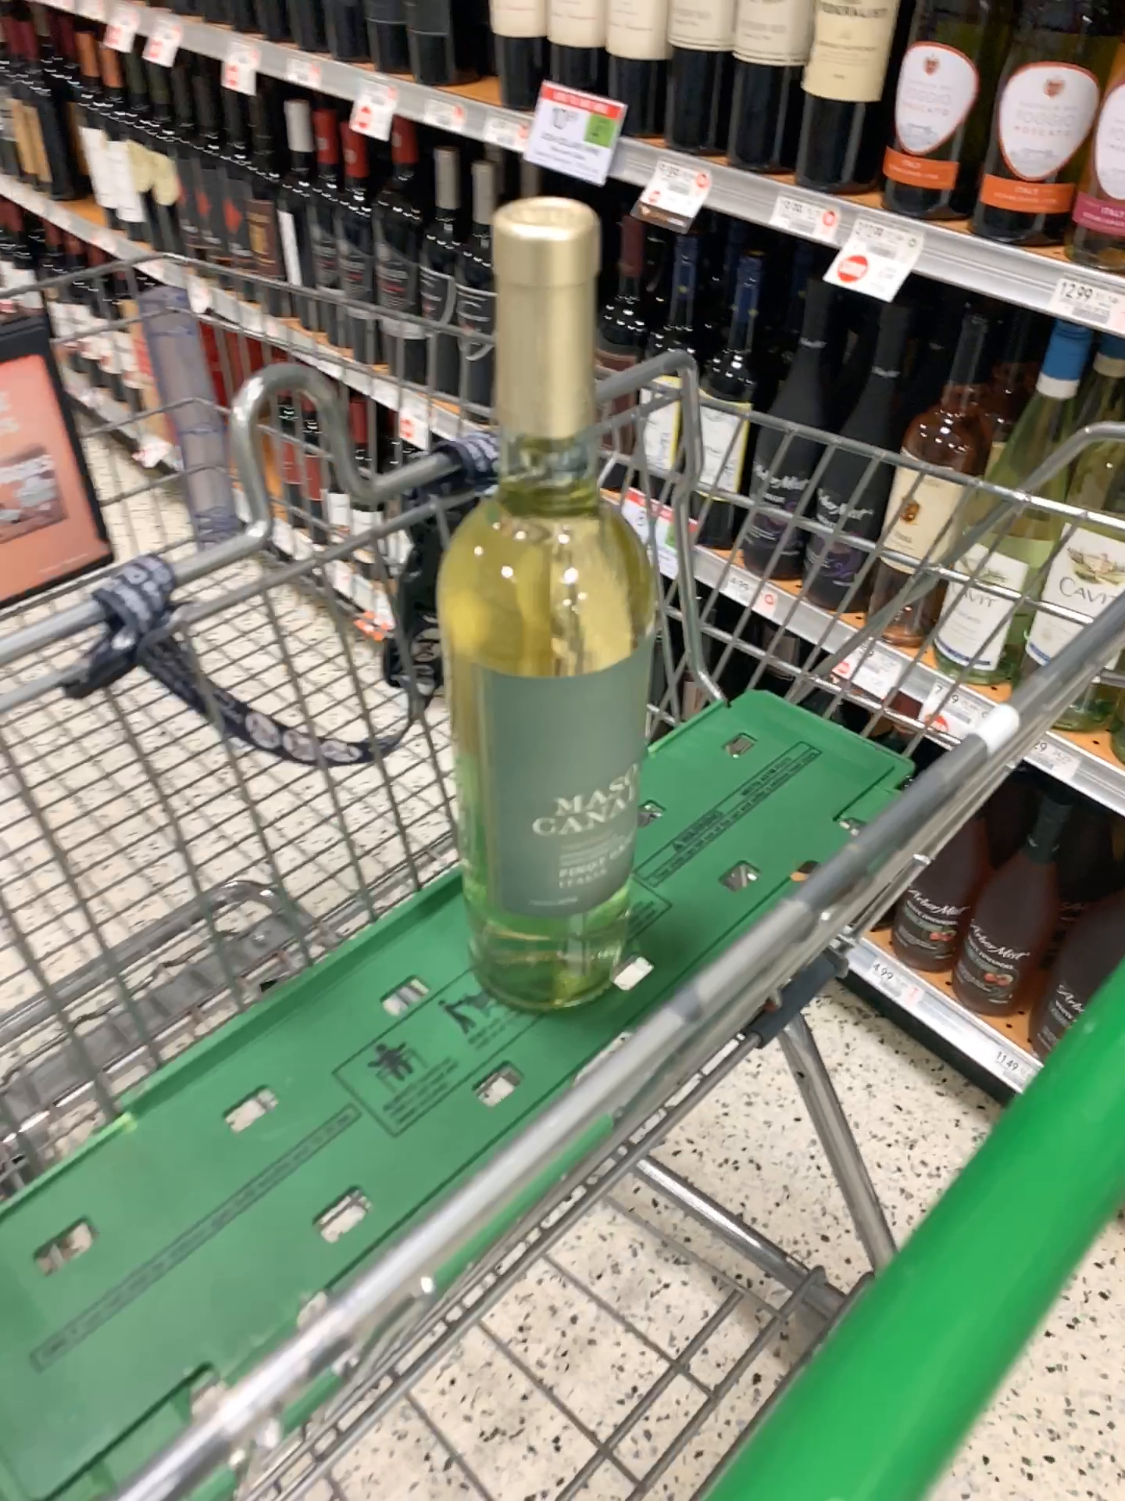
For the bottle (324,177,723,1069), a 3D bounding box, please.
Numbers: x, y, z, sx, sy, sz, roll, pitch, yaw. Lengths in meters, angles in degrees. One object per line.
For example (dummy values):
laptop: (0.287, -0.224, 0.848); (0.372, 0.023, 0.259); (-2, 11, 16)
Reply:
bottle: (-0.013, -0.025, 0.447); (0.080, 0.336, 0.091); (-27, 47, -28)
